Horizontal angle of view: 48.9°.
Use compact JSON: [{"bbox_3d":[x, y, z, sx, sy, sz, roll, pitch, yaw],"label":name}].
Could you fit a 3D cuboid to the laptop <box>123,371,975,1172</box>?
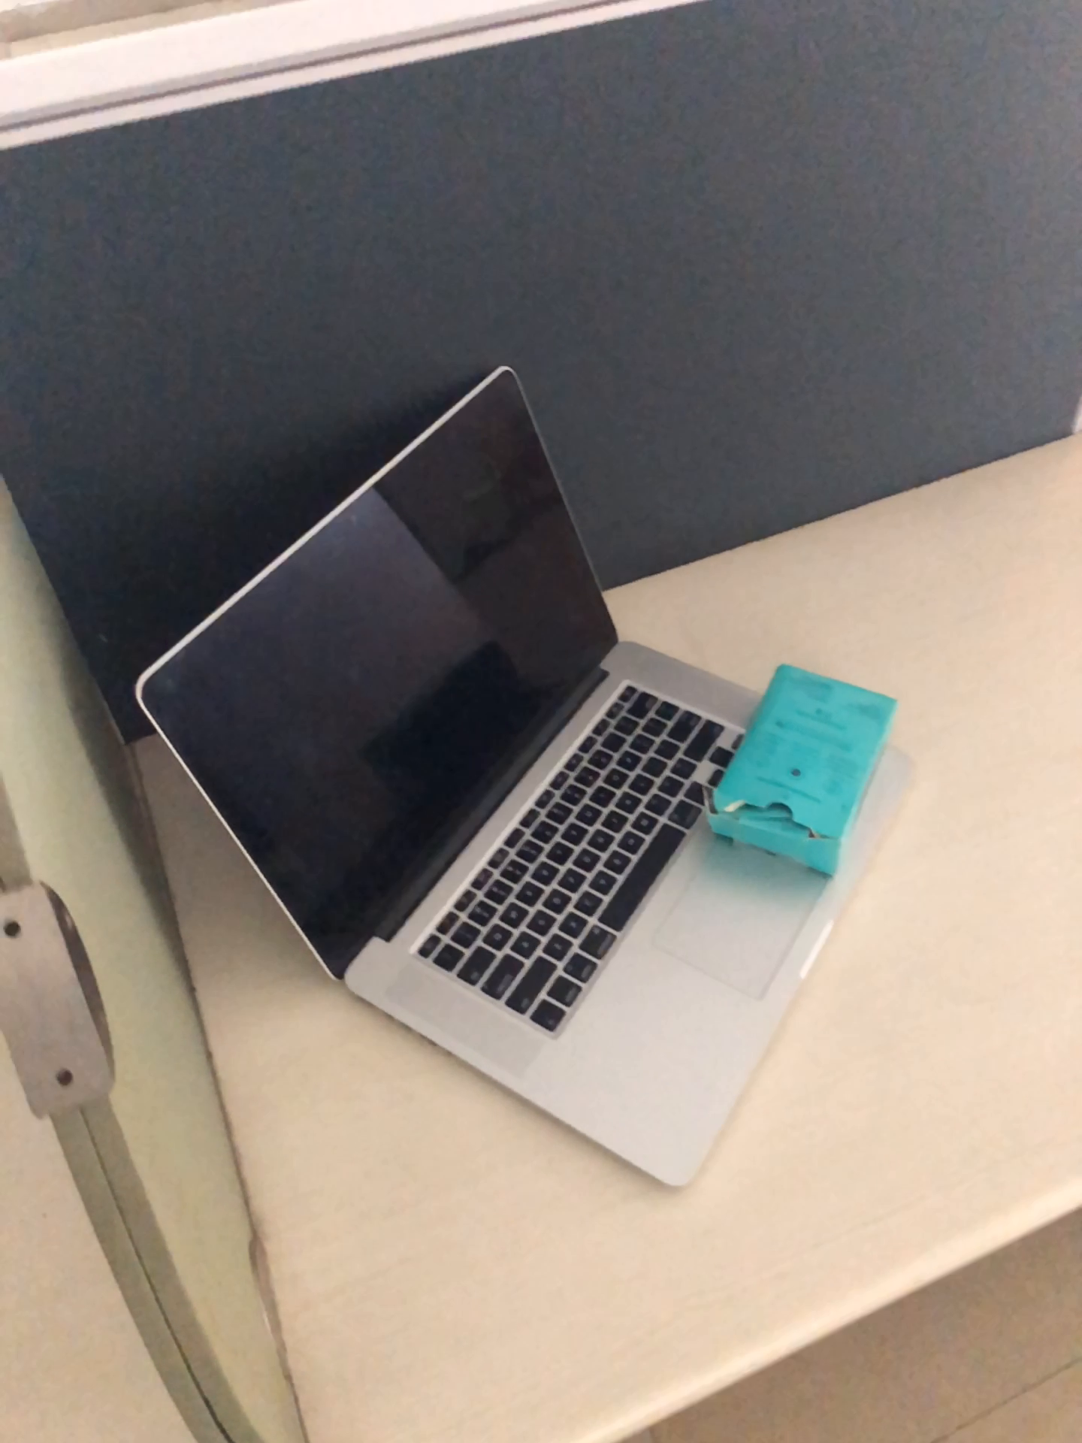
[{"bbox_3d":[0.019,0.005,0.727,0.339,0.200,0.330,26,55,22],"label":"laptop"}]
